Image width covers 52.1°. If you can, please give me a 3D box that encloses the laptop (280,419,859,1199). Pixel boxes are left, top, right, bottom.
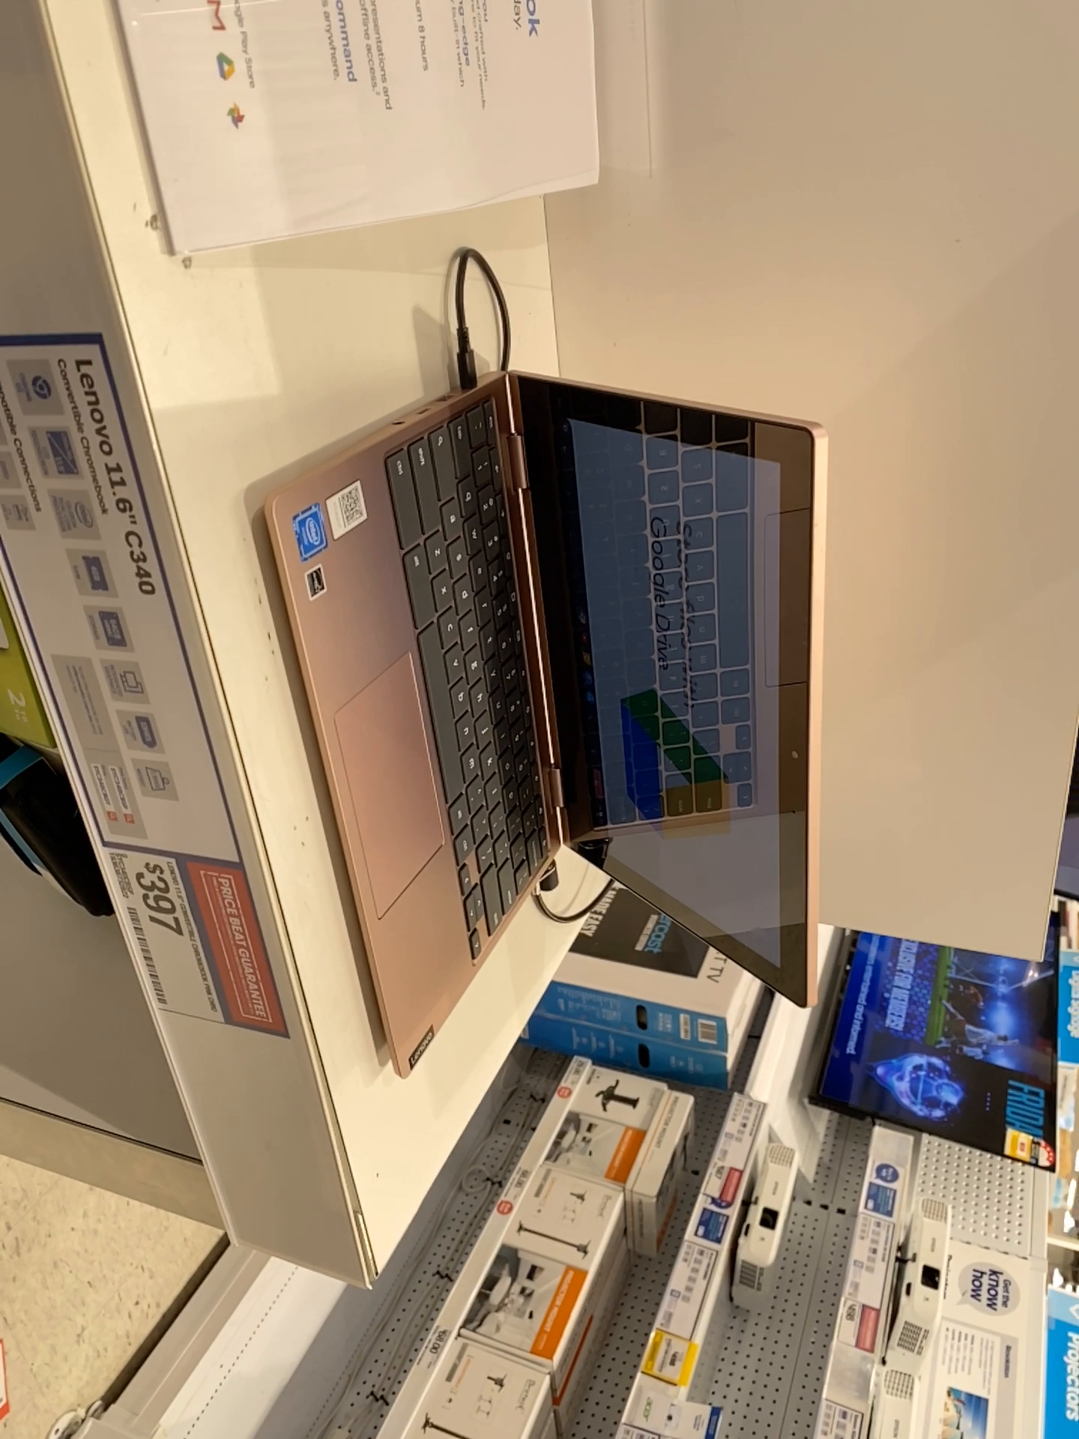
[{"bbox_3d":[0.038,0.026,0.507,0.197,0.168,0.280,-51,141,-52],"label":"laptop"}]
